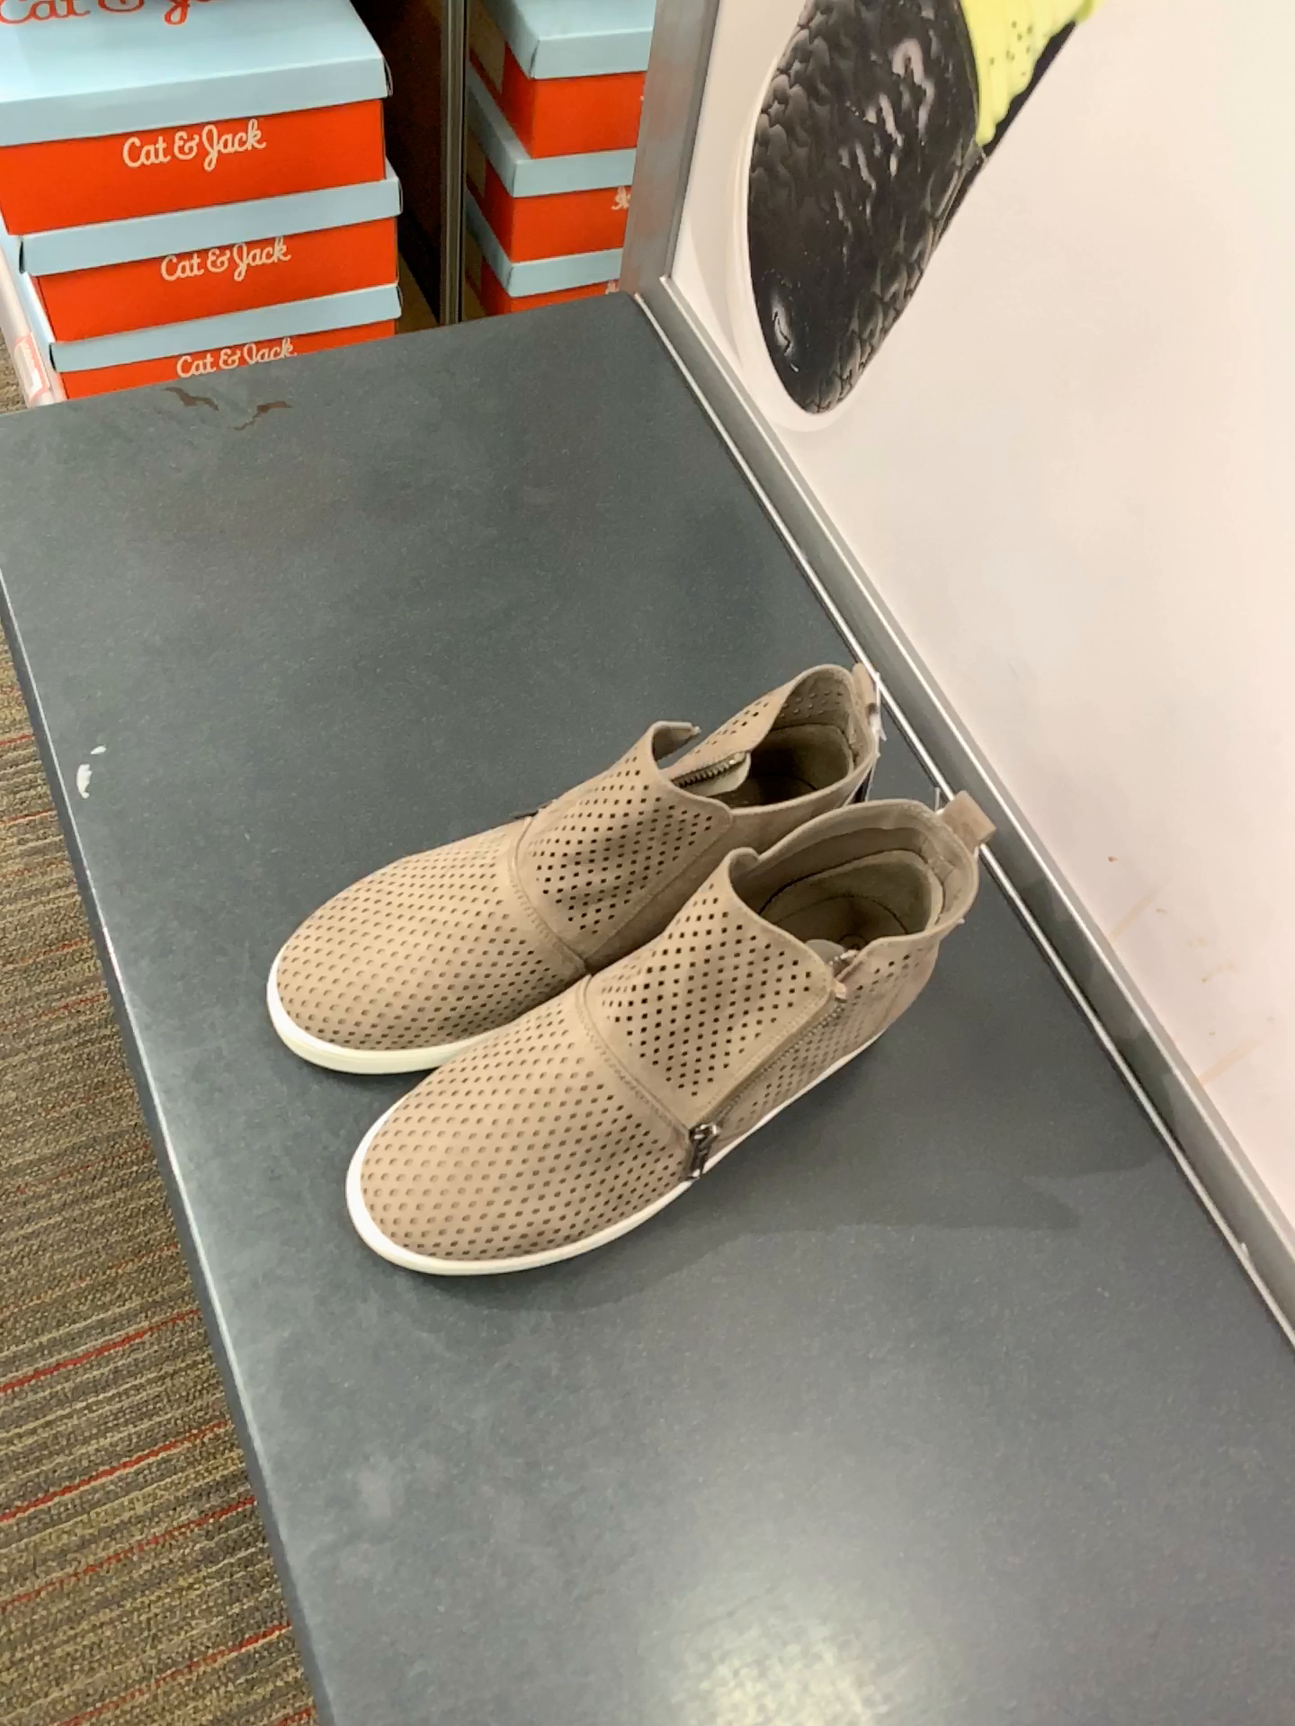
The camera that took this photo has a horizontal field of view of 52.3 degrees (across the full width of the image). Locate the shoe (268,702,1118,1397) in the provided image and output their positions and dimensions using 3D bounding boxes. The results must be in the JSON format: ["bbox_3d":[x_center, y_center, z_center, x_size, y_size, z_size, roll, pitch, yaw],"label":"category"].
[{"bbox_3d":[0.013,0.065,0.466,0.250,0.140,0.100,-25,67,-21],"label":"shoe"}]

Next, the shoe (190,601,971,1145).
[{"bbox_3d":[-0.028,0.005,0.513,0.250,0.140,0.100,-14,64,-17],"label":"shoe"}]
